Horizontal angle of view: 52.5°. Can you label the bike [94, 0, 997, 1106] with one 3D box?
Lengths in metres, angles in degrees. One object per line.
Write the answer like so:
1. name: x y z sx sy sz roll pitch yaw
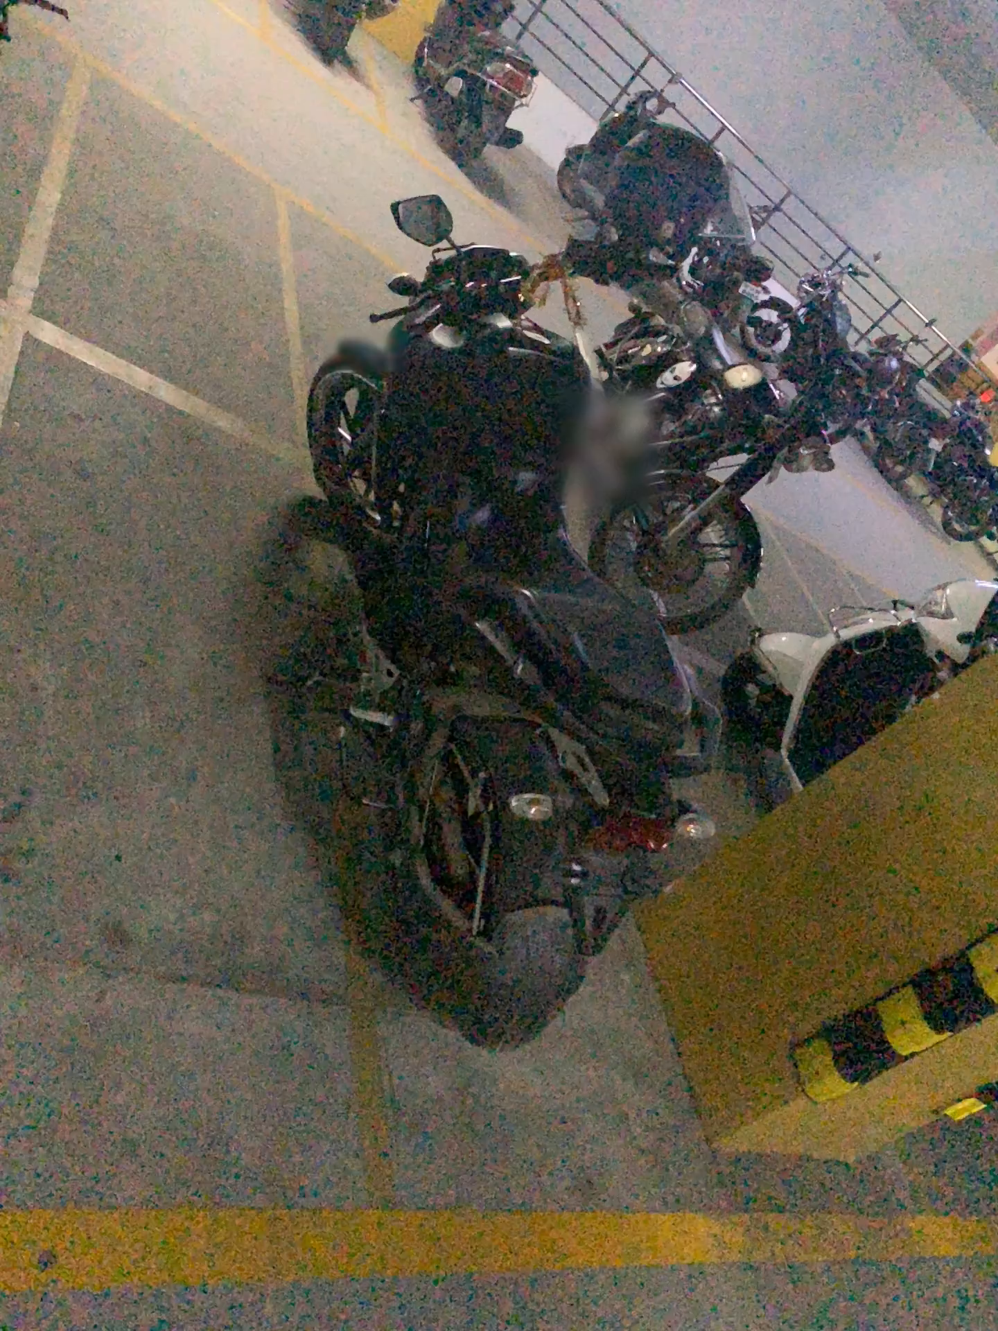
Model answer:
1. bike: -0.082 -0.317 1.891 0.788 1.096 1.738 17 43 -41
